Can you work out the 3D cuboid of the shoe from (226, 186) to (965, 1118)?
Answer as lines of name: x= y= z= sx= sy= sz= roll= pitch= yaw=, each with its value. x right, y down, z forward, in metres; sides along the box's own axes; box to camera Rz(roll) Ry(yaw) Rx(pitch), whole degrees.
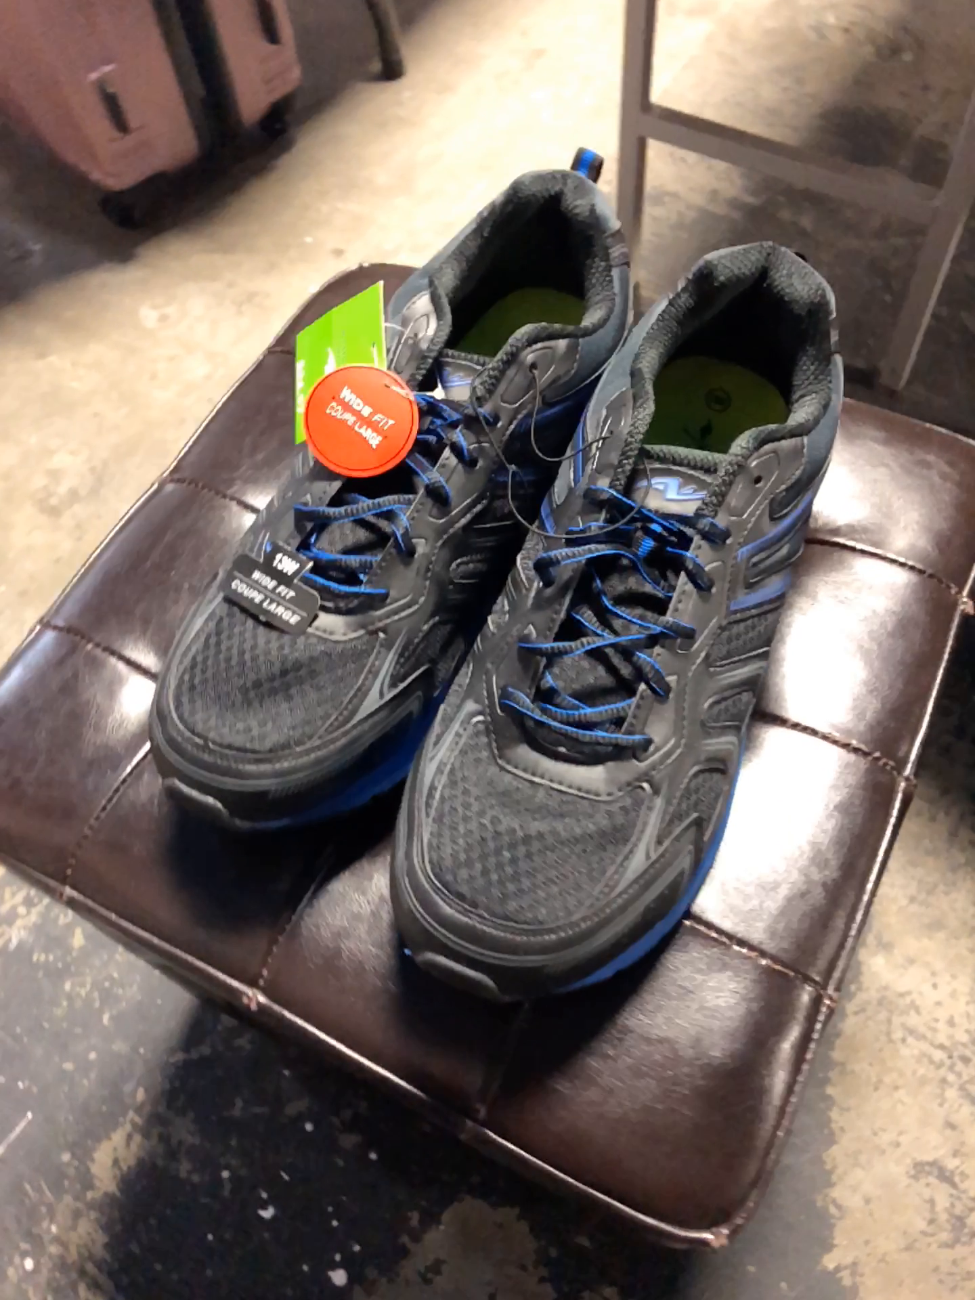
shoe: x=0.056 y=-0.018 z=0.393 sx=0.130 sy=0.099 sz=0.311 roll=21 pitch=63 yaw=16

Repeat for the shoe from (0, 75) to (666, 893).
shoe: x=-0.051 y=-0.074 z=0.415 sx=0.120 sy=0.119 sz=0.281 roll=25 pitch=64 yaw=18
